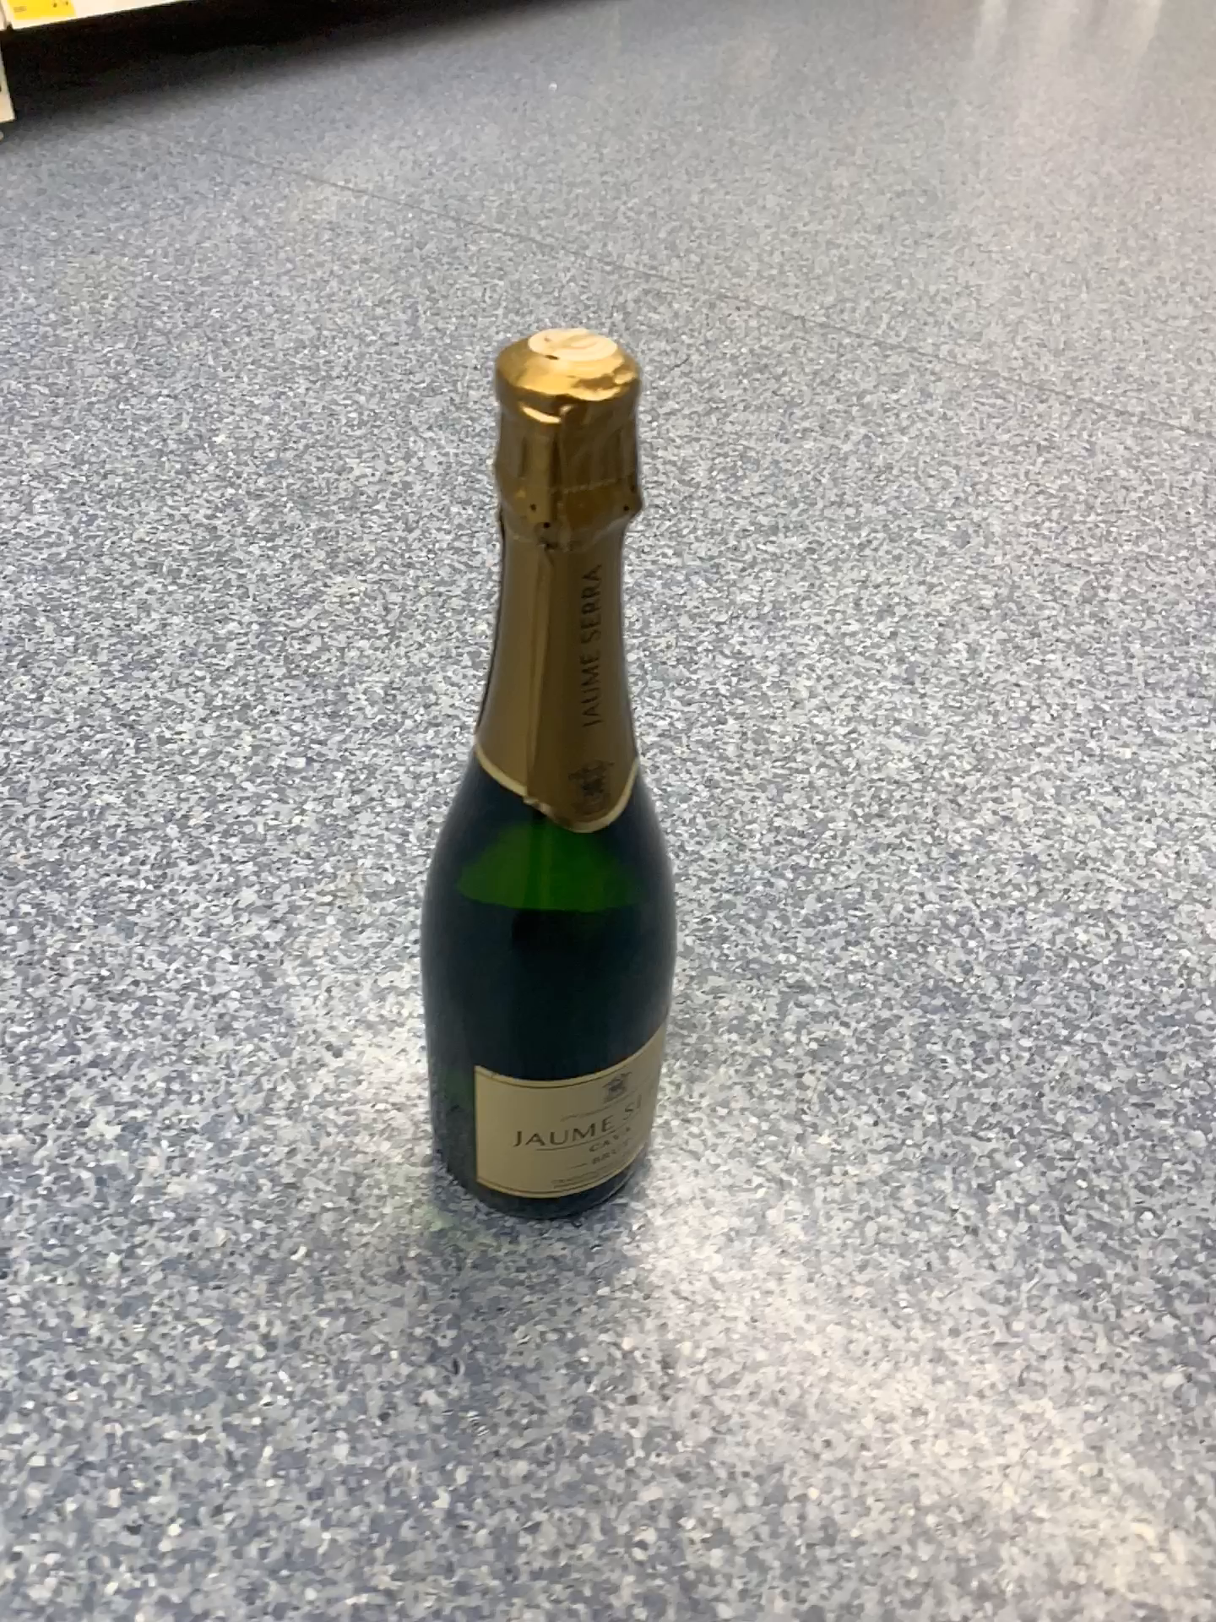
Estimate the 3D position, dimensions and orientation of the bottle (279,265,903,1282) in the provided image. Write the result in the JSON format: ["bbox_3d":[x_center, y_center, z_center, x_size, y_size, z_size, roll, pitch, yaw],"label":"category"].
[{"bbox_3d":[-0.014,0.006,0.387,0.104,0.292,0.105,2,42,-2],"label":"bottle"}]
